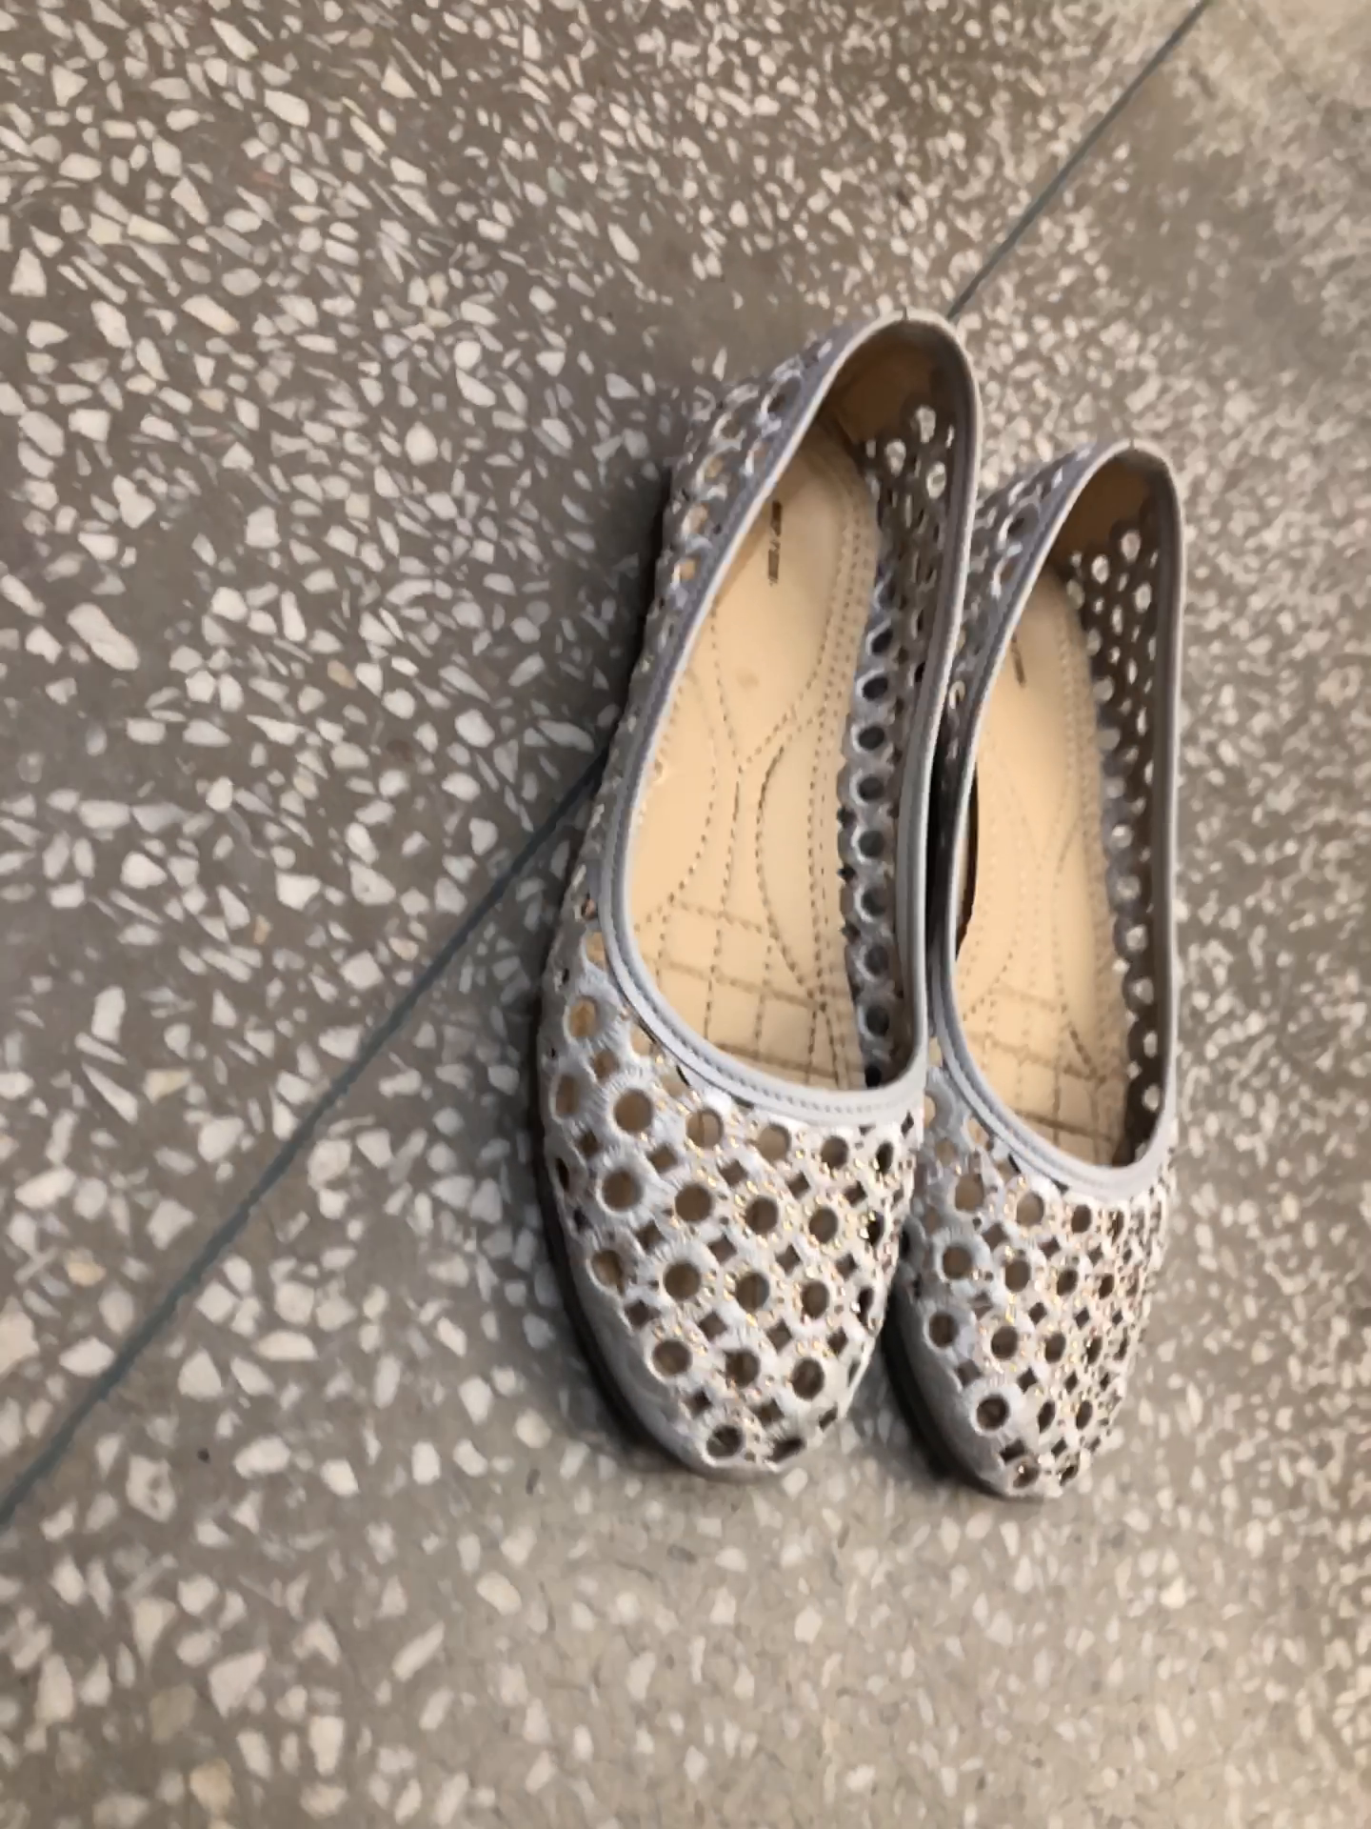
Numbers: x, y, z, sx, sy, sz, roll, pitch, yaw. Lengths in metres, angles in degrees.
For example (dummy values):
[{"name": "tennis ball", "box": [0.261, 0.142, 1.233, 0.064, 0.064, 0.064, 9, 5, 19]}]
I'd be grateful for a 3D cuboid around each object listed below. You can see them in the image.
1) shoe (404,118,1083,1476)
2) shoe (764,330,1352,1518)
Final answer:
[{"name": "shoe", "box": [0.016, -0.020, 0.303, 0.093, 0.070, 0.240, 17, 66, -32]}, {"name": "shoe", "box": [0.081, 0.004, 0.347, 0.093, 0.070, 0.240, 17, 66, -32]}]
